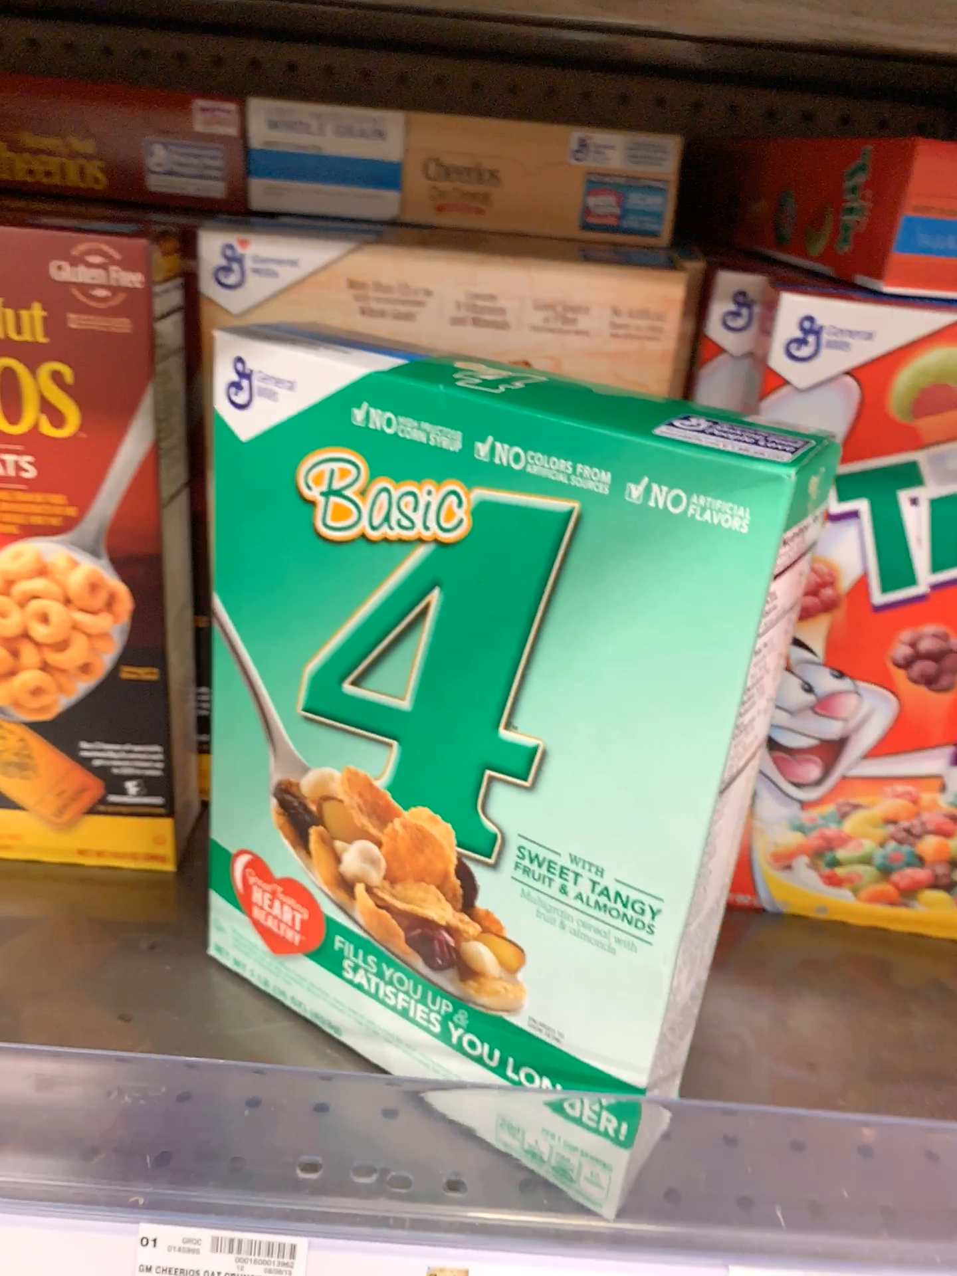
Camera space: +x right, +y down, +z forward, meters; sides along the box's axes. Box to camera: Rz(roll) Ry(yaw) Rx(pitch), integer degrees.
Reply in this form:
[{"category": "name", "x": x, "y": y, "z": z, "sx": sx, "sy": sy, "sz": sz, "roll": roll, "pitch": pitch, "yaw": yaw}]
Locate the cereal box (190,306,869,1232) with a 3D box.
[{"category": "cereal box", "x": -0.009, "y": 0.038, "z": 0.340, "sx": 0.200, "sy": 0.259, "sz": 0.050, "roll": 20, "pitch": 27, "yaw": 28}]
